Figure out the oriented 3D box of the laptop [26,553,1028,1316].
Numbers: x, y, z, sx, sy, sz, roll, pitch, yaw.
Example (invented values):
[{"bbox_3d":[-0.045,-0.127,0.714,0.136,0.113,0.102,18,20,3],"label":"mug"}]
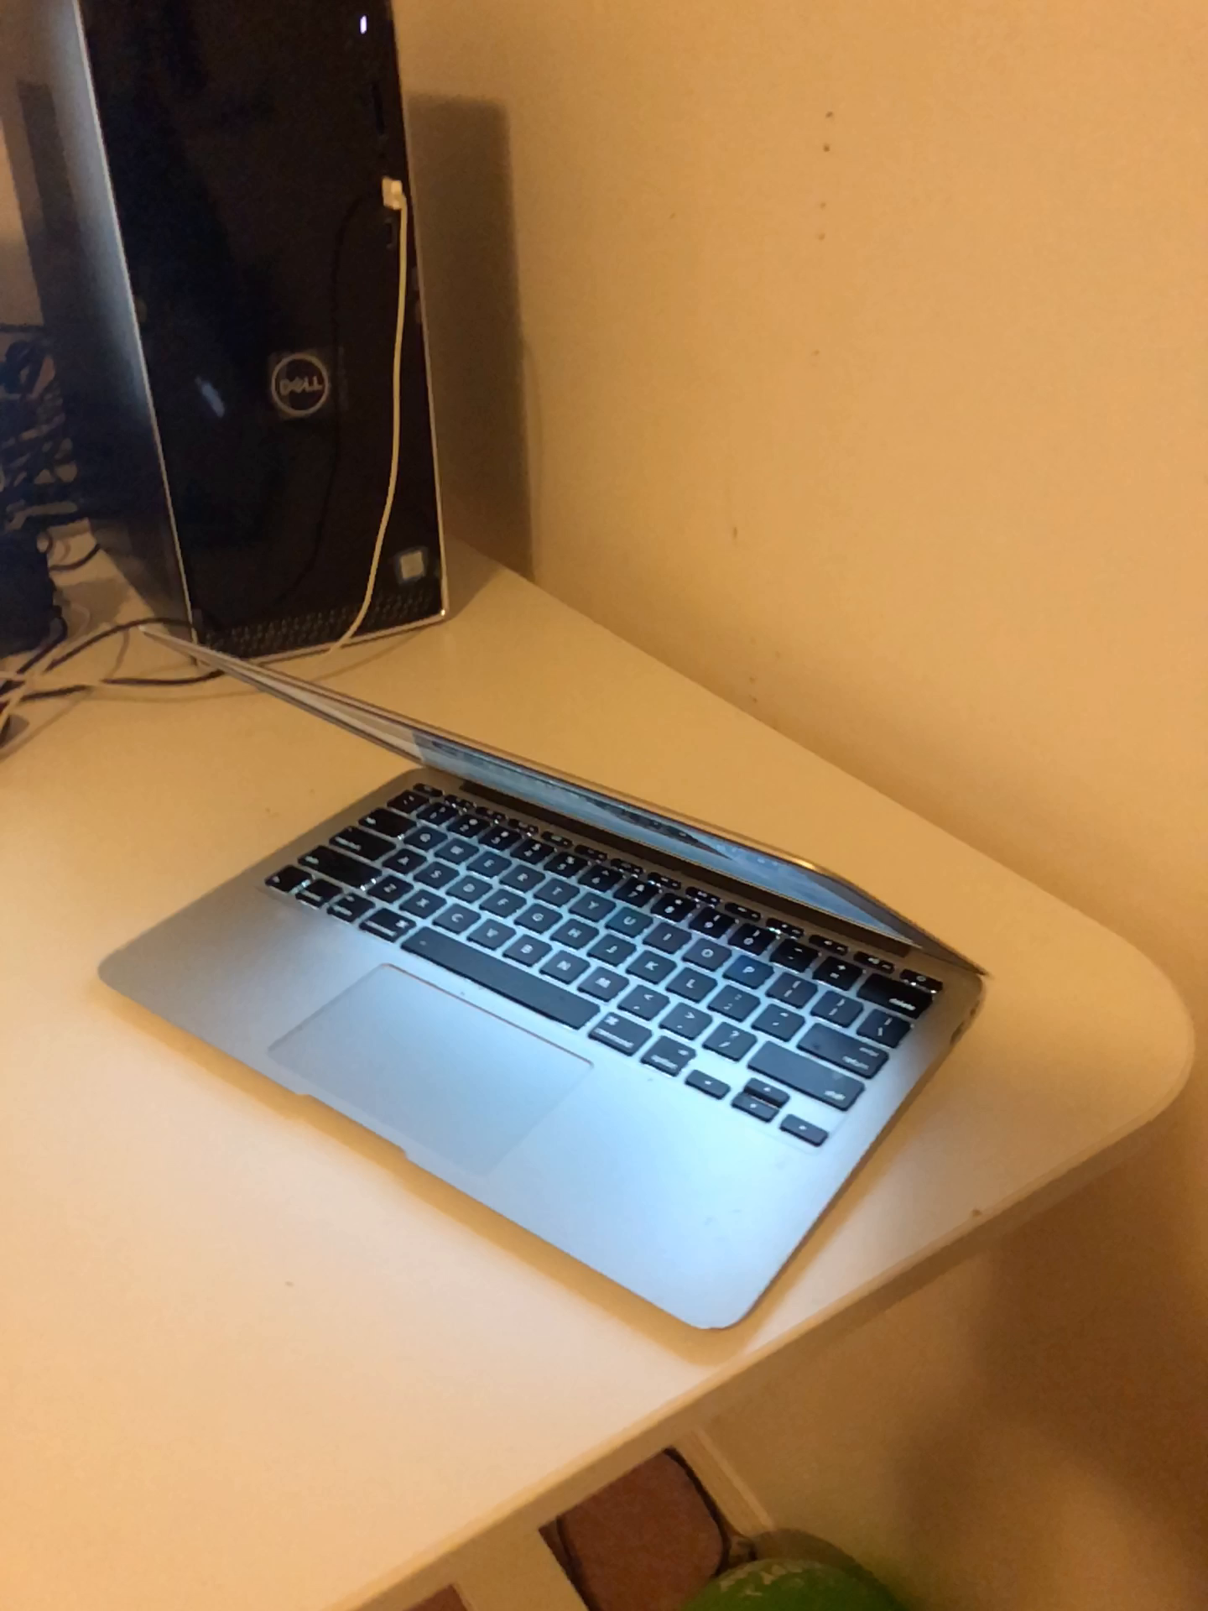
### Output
[{"bbox_3d":[-0.027,0.018,0.484,0.286,0.108,0.182,20,38,29],"label":"laptop"}]
